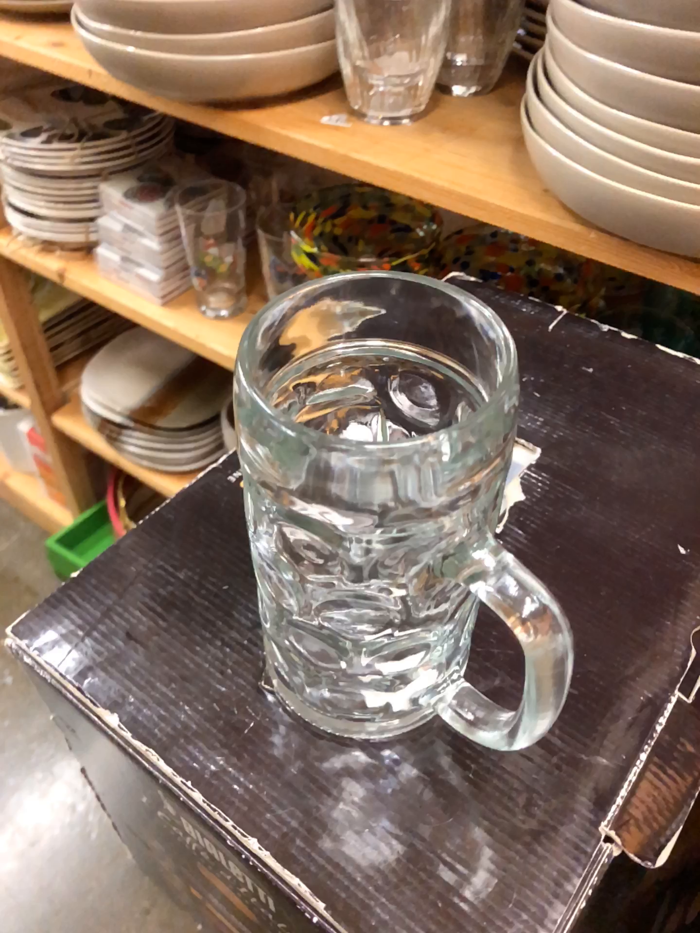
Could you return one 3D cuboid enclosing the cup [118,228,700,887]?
[{"bbox_3d":[0.015,0.026,0.253,0.100,0.136,0.129,-31,54,-27],"label":"cup"}]
